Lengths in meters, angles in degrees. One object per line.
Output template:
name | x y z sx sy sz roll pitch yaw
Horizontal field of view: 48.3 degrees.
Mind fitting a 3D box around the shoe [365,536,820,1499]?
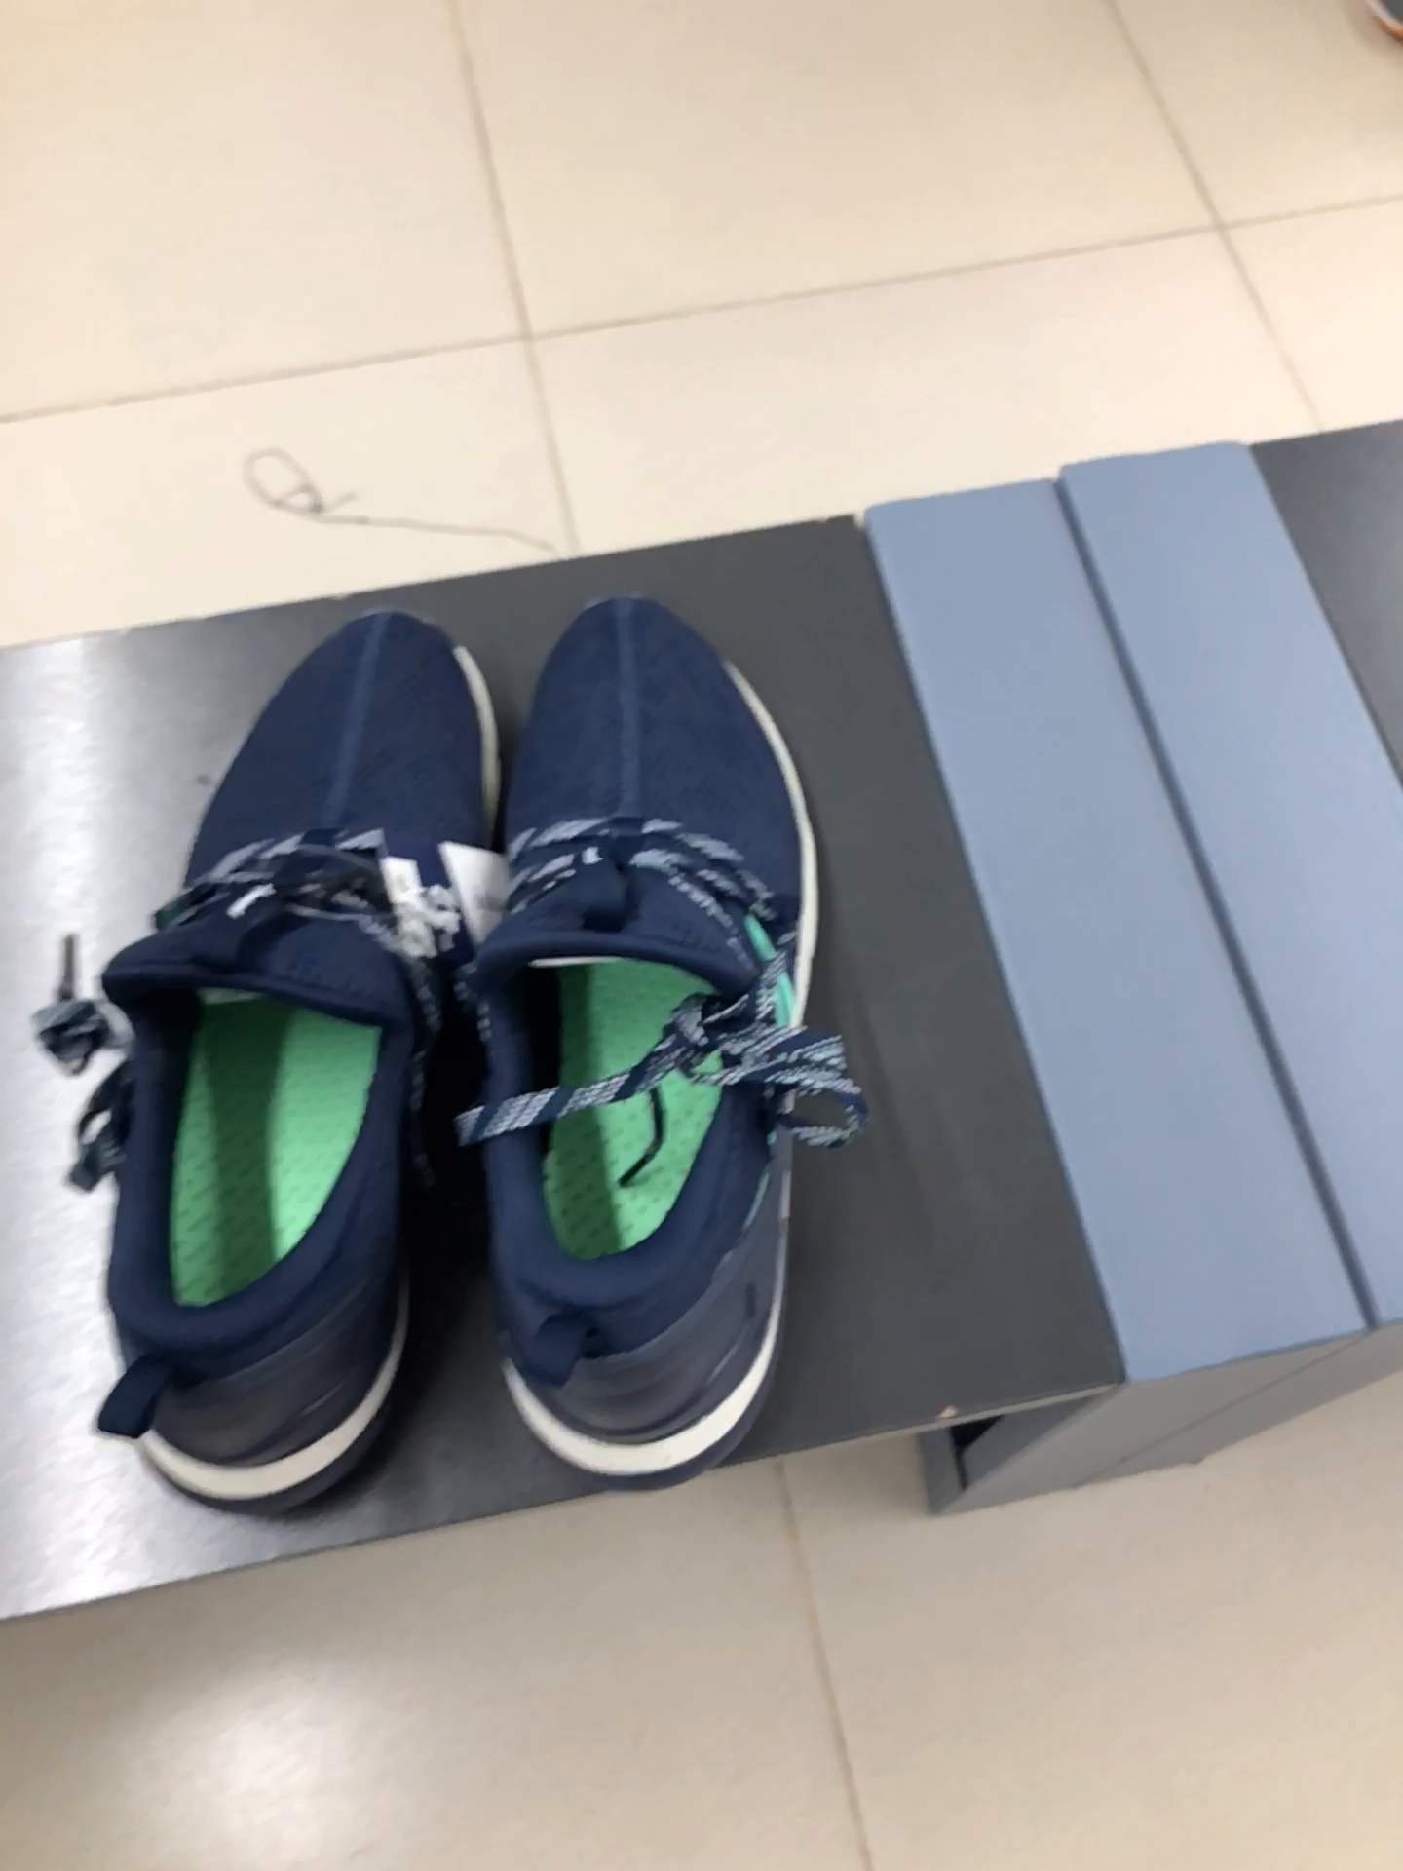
shoe | -0.025 0.024 0.452 0.100 0.120 0.251 0 65 0

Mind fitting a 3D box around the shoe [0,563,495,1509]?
shoe | -0.124 0.030 0.460 0.100 0.120 0.251 0 65 0
